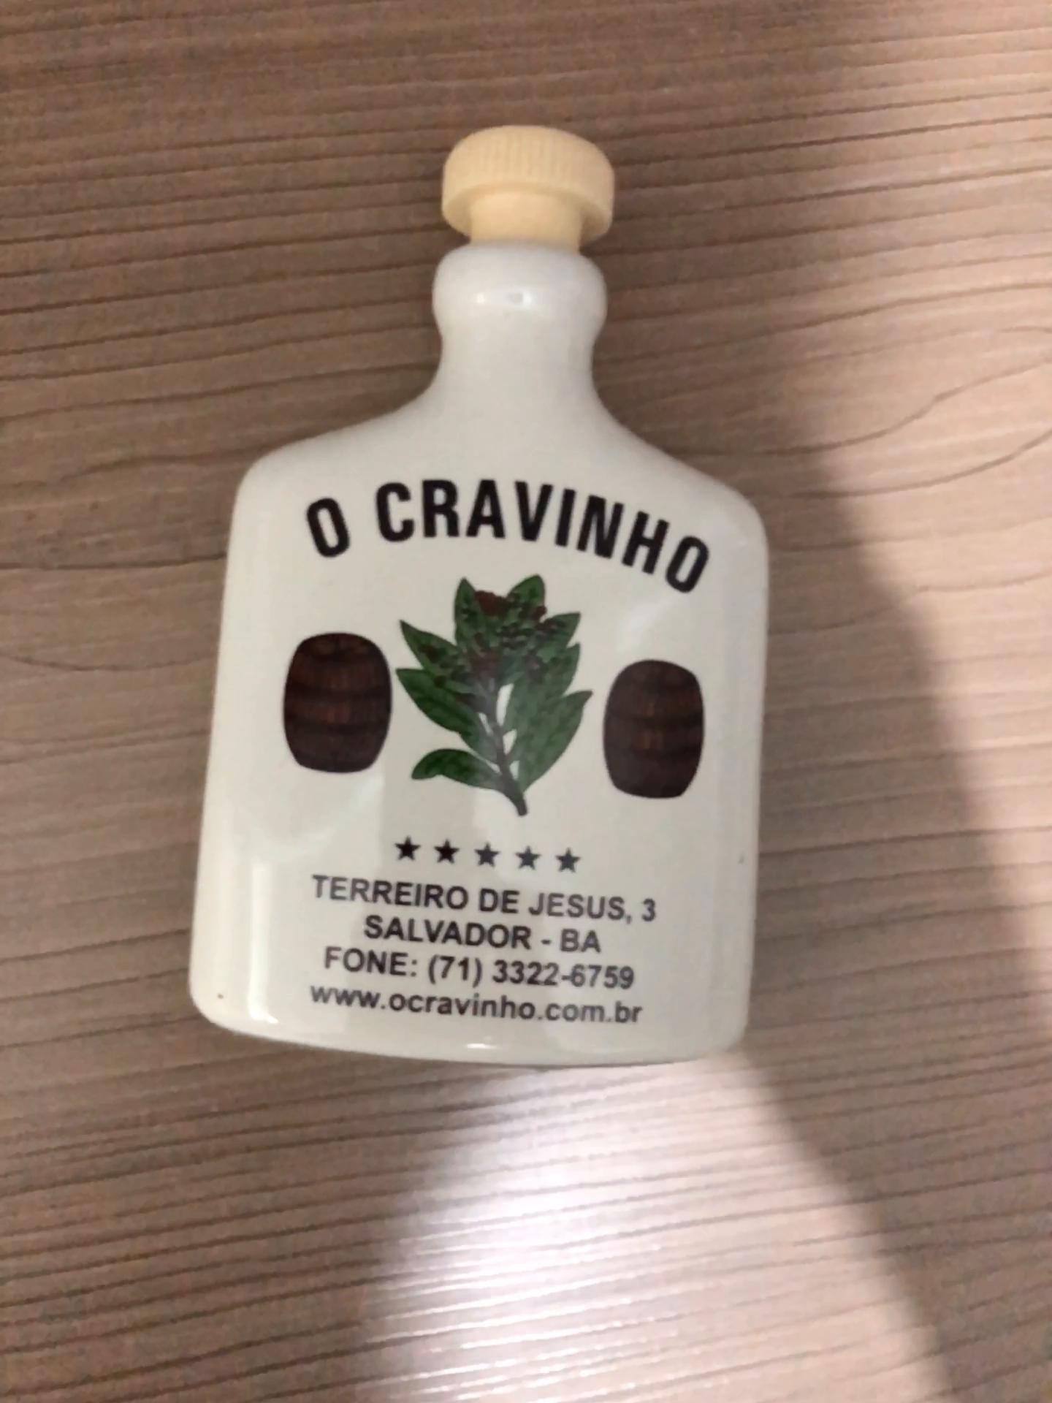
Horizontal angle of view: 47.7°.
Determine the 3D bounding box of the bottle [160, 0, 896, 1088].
[{"bbox_3d":[-0.001,-0.024,0.199,0.100,0.040,0.160,4,92,-4],"label":"bottle"}]
